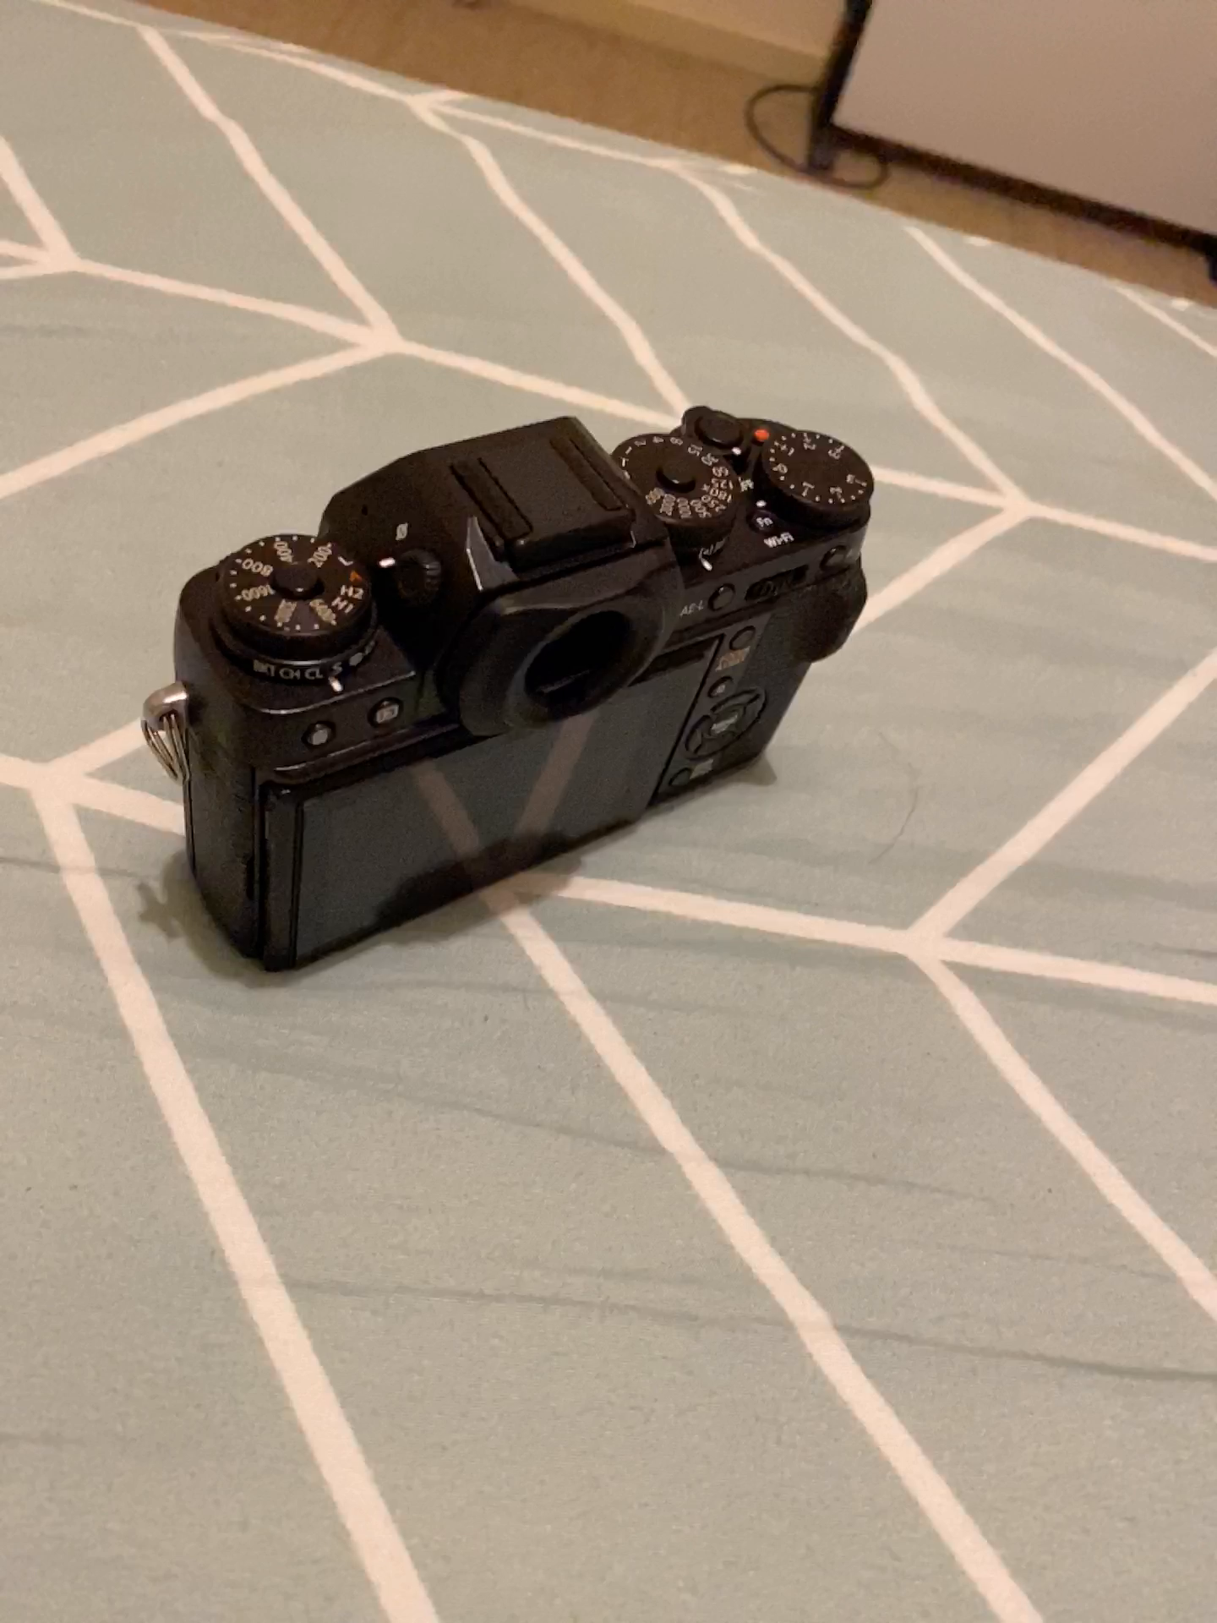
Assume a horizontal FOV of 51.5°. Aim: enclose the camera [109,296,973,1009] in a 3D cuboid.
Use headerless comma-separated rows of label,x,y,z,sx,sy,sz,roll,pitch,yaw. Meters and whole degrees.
camera,-0.013,-0.032,0.232,0.130,0.087,0.052,-23,62,-29
